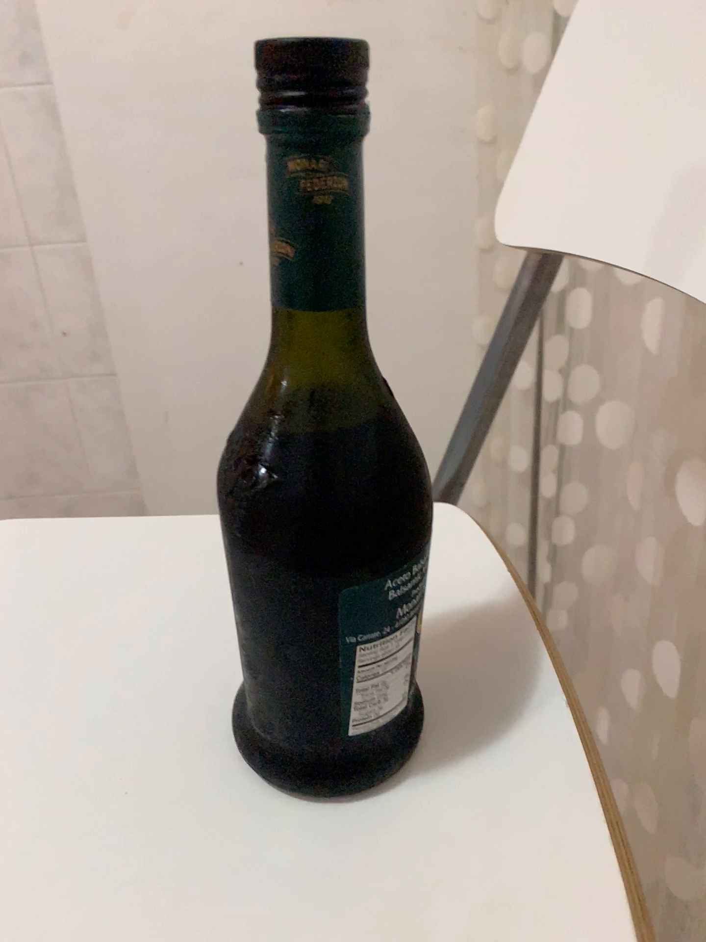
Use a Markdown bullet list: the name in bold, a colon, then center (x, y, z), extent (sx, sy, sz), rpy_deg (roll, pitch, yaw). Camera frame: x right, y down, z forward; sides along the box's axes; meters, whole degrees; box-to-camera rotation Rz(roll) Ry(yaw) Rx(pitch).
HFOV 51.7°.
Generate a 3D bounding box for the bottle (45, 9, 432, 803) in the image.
- **bottle**: center (-0.017, -0.009, 0.252), extent (0.080, 0.243, 0.090), rpy_deg (-2, 26, 5)
